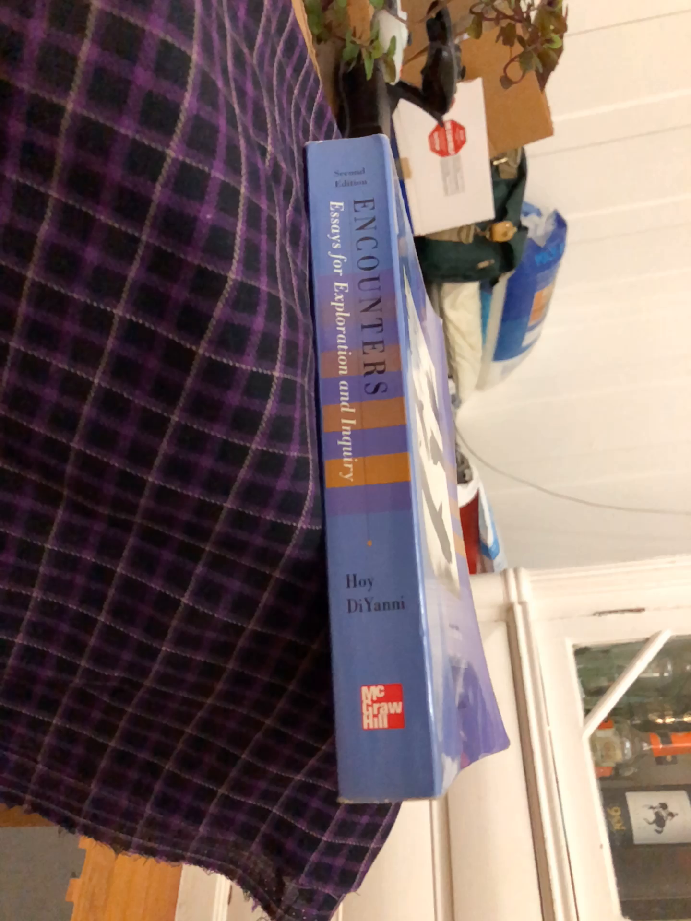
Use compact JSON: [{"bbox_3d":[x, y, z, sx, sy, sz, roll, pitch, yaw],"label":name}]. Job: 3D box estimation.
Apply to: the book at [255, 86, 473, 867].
[{"bbox_3d":[0.016,0.014,0.345,0.200,0.040,0.260,51,33,-70],"label":"book"}]
